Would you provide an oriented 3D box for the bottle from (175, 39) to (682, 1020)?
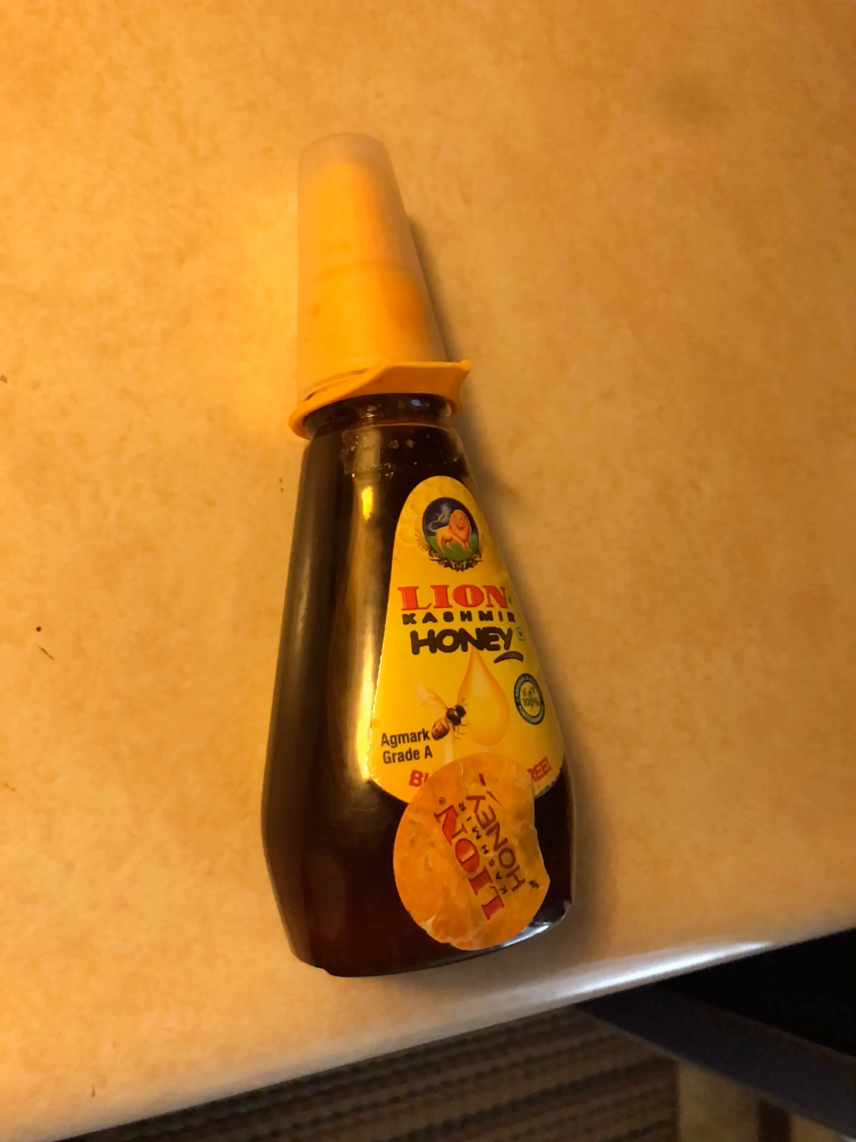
[{"bbox_3d":[-0.001,-0.010,0.229,0.090,0.050,0.190,-3,85,-32],"label":"bottle"}]
